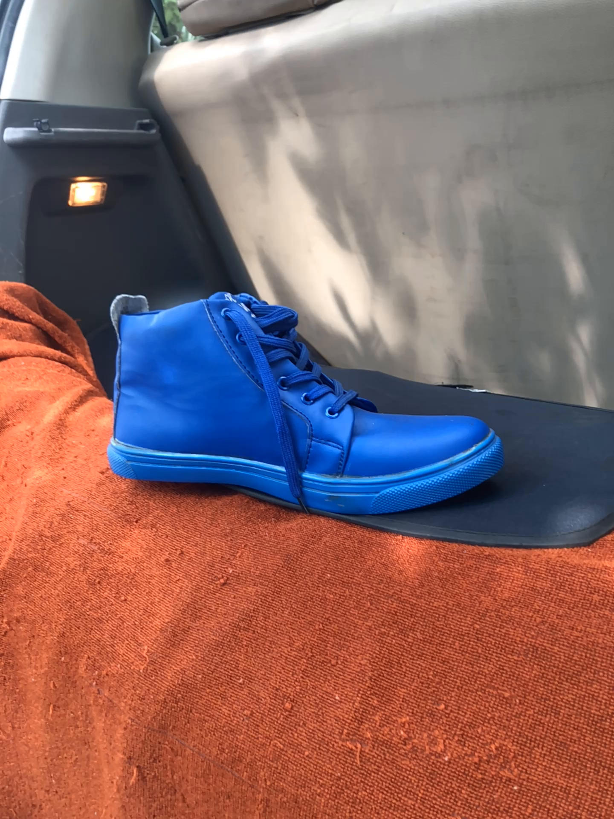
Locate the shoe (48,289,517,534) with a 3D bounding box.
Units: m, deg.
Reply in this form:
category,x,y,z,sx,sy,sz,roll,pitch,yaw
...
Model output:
category,x,y,z,sx,sy,sz,roll,pitch,yaw
shoe,-0.013,-0.015,0.491,0.300,0.120,0.131,4,21,22
